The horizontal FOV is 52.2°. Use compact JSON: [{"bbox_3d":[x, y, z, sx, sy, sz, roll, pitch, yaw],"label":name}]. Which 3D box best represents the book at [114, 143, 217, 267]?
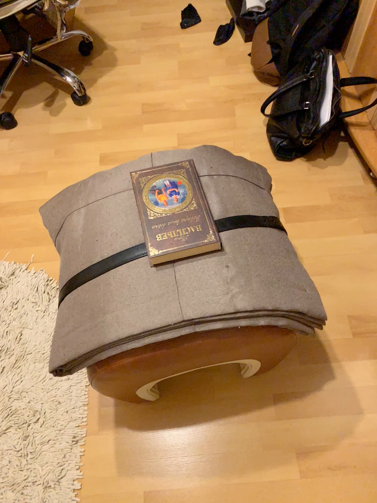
[{"bbox_3d":[-0.046,-0.092,0.692,0.140,0.050,0.221,-13,55,-4],"label":"book"}]
